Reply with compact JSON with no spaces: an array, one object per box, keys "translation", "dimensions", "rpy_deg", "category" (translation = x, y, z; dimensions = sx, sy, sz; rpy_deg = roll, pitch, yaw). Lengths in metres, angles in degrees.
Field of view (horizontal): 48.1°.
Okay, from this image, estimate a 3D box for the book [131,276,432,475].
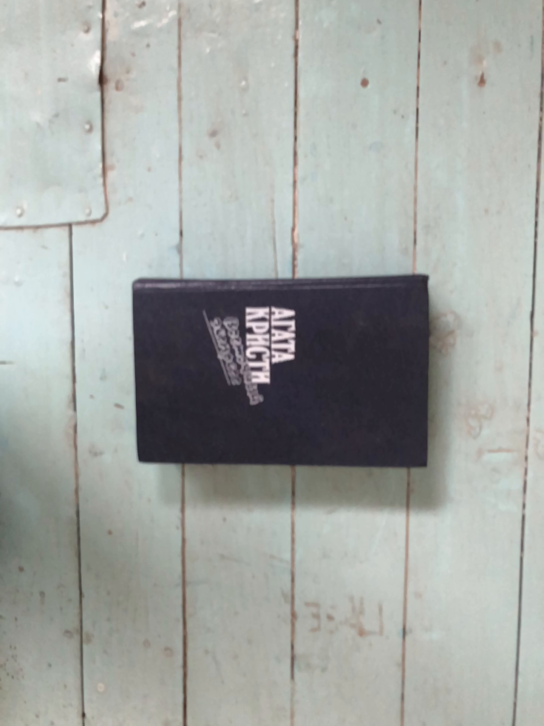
[{"translation":[0.006,0.007,0.448],"dimensions":[0.210,0.040,0.138],"rpy_deg":[0,94,6],"category":"book"}]
